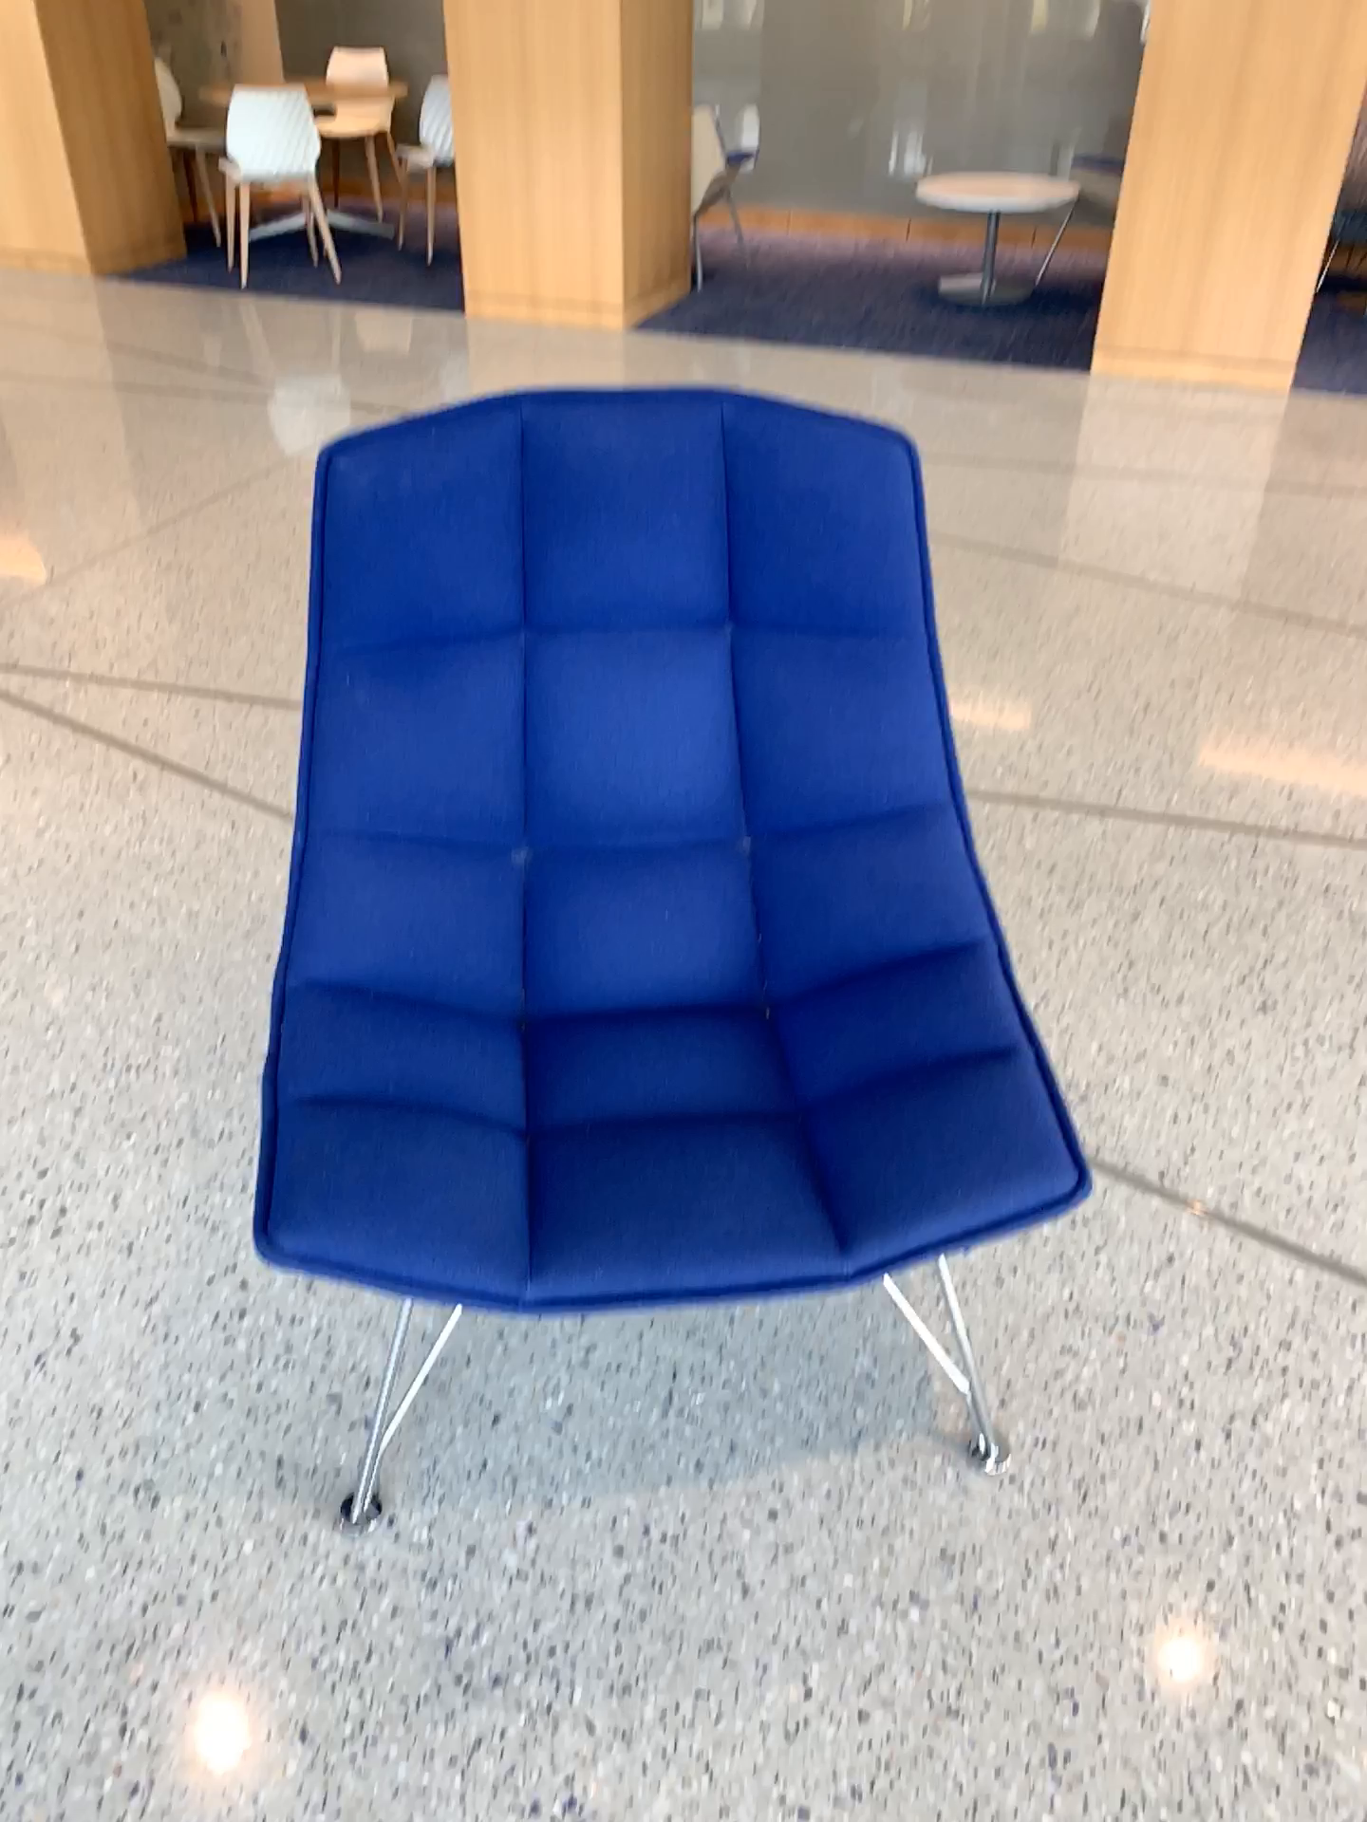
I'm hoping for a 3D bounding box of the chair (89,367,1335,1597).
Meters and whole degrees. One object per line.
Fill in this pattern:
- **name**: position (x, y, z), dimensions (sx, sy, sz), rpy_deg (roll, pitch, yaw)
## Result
- **chair**: position (-0.012, 0.026, 1.498), dimensions (0.798, 0.962, 0.835), rpy_deg (-3, 34, -5)
